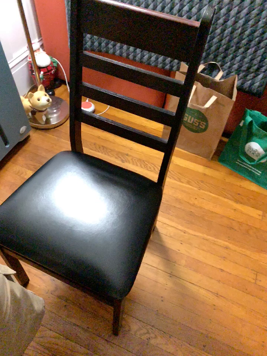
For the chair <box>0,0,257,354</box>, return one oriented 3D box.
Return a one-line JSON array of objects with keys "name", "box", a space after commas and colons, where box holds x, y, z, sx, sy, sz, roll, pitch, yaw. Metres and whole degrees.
[{"name": "chair", "box": [-0.121, 0.027, 0.744, 0.490, 0.866, 0.552, 19, 54, 11]}]
